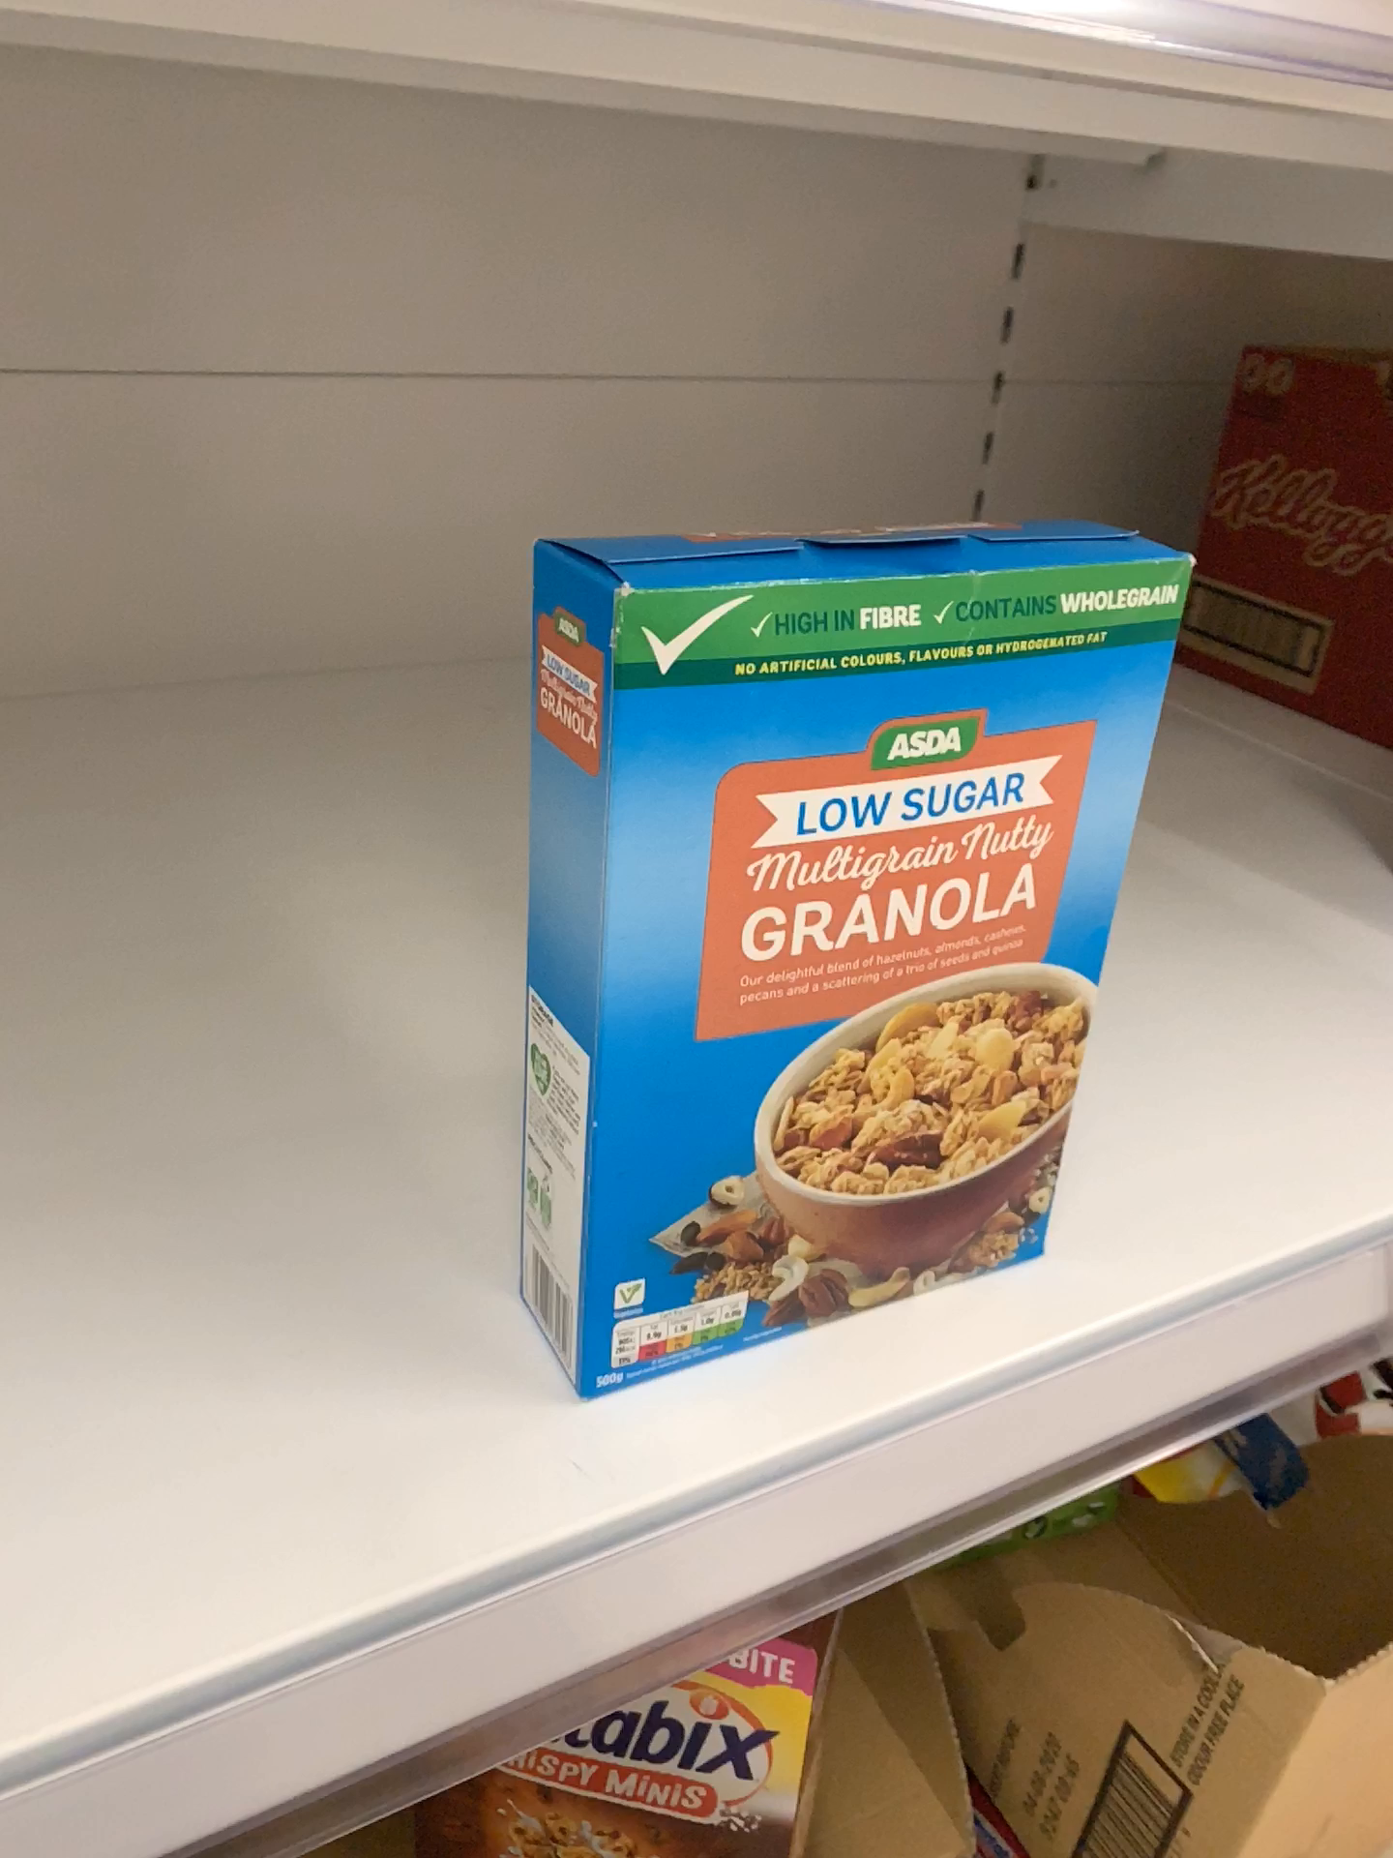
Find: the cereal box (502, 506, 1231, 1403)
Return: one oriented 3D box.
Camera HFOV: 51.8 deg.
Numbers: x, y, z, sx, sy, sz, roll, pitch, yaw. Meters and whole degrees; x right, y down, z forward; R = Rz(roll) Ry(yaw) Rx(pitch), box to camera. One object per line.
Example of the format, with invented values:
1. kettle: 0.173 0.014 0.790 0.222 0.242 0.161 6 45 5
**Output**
1. cereal box: 0.043 0.005 0.442 0.190 0.248 0.060 -9 30 -26
